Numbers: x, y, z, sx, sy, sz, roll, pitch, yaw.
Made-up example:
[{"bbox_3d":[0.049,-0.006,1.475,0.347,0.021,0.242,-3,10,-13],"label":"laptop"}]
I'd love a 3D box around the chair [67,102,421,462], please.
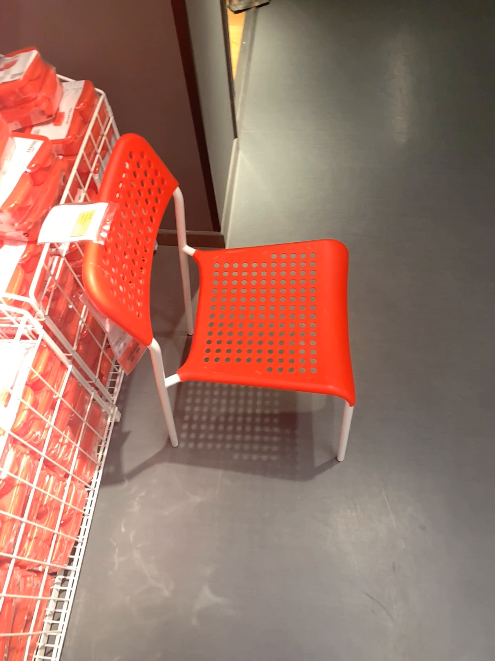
[{"bbox_3d":[0.023,-0.035,1.048,0.460,0.689,0.411,1,60,5],"label":"chair"}]
